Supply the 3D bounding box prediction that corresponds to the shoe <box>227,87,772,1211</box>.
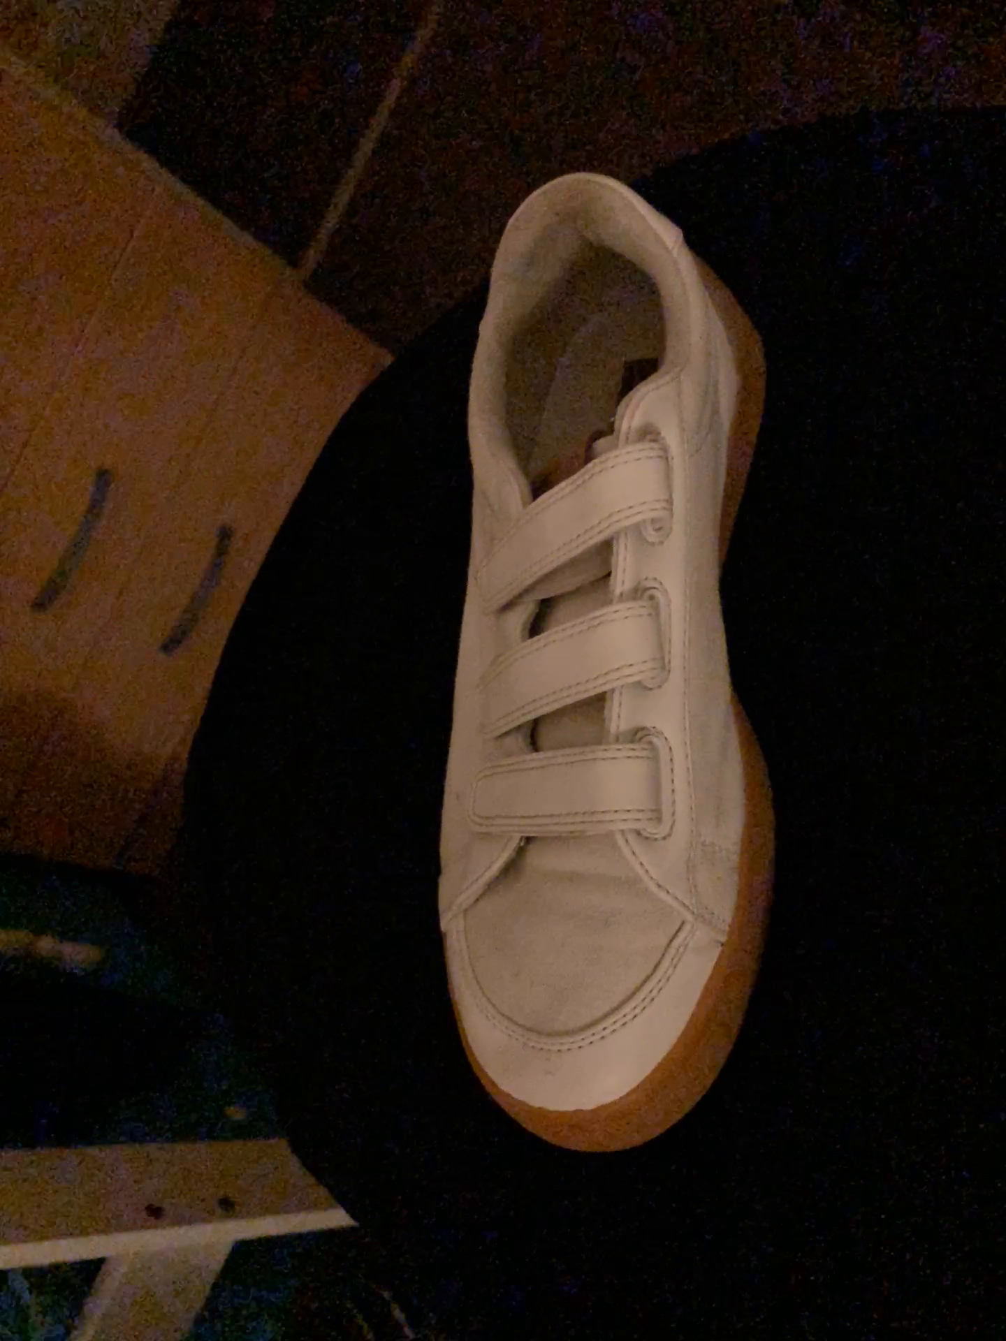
[{"bbox_3d":[0.010,-0.009,0.280,0.096,0.079,0.255,-9,67,36],"label":"shoe"}]
